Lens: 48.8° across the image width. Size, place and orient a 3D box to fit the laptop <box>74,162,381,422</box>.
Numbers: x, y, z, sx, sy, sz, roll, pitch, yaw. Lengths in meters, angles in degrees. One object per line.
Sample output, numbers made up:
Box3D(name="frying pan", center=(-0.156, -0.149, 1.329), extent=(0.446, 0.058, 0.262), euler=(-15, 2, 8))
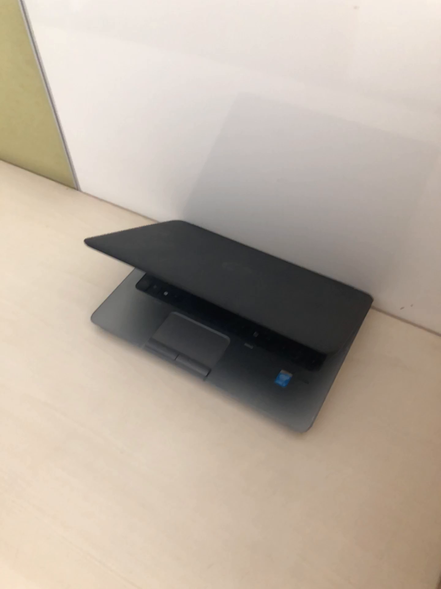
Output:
Box3D(name="laptop", center=(0.012, -0.020, 0.660), extent=(0.320, 0.118, 0.221), euler=(24, 57, 18))
